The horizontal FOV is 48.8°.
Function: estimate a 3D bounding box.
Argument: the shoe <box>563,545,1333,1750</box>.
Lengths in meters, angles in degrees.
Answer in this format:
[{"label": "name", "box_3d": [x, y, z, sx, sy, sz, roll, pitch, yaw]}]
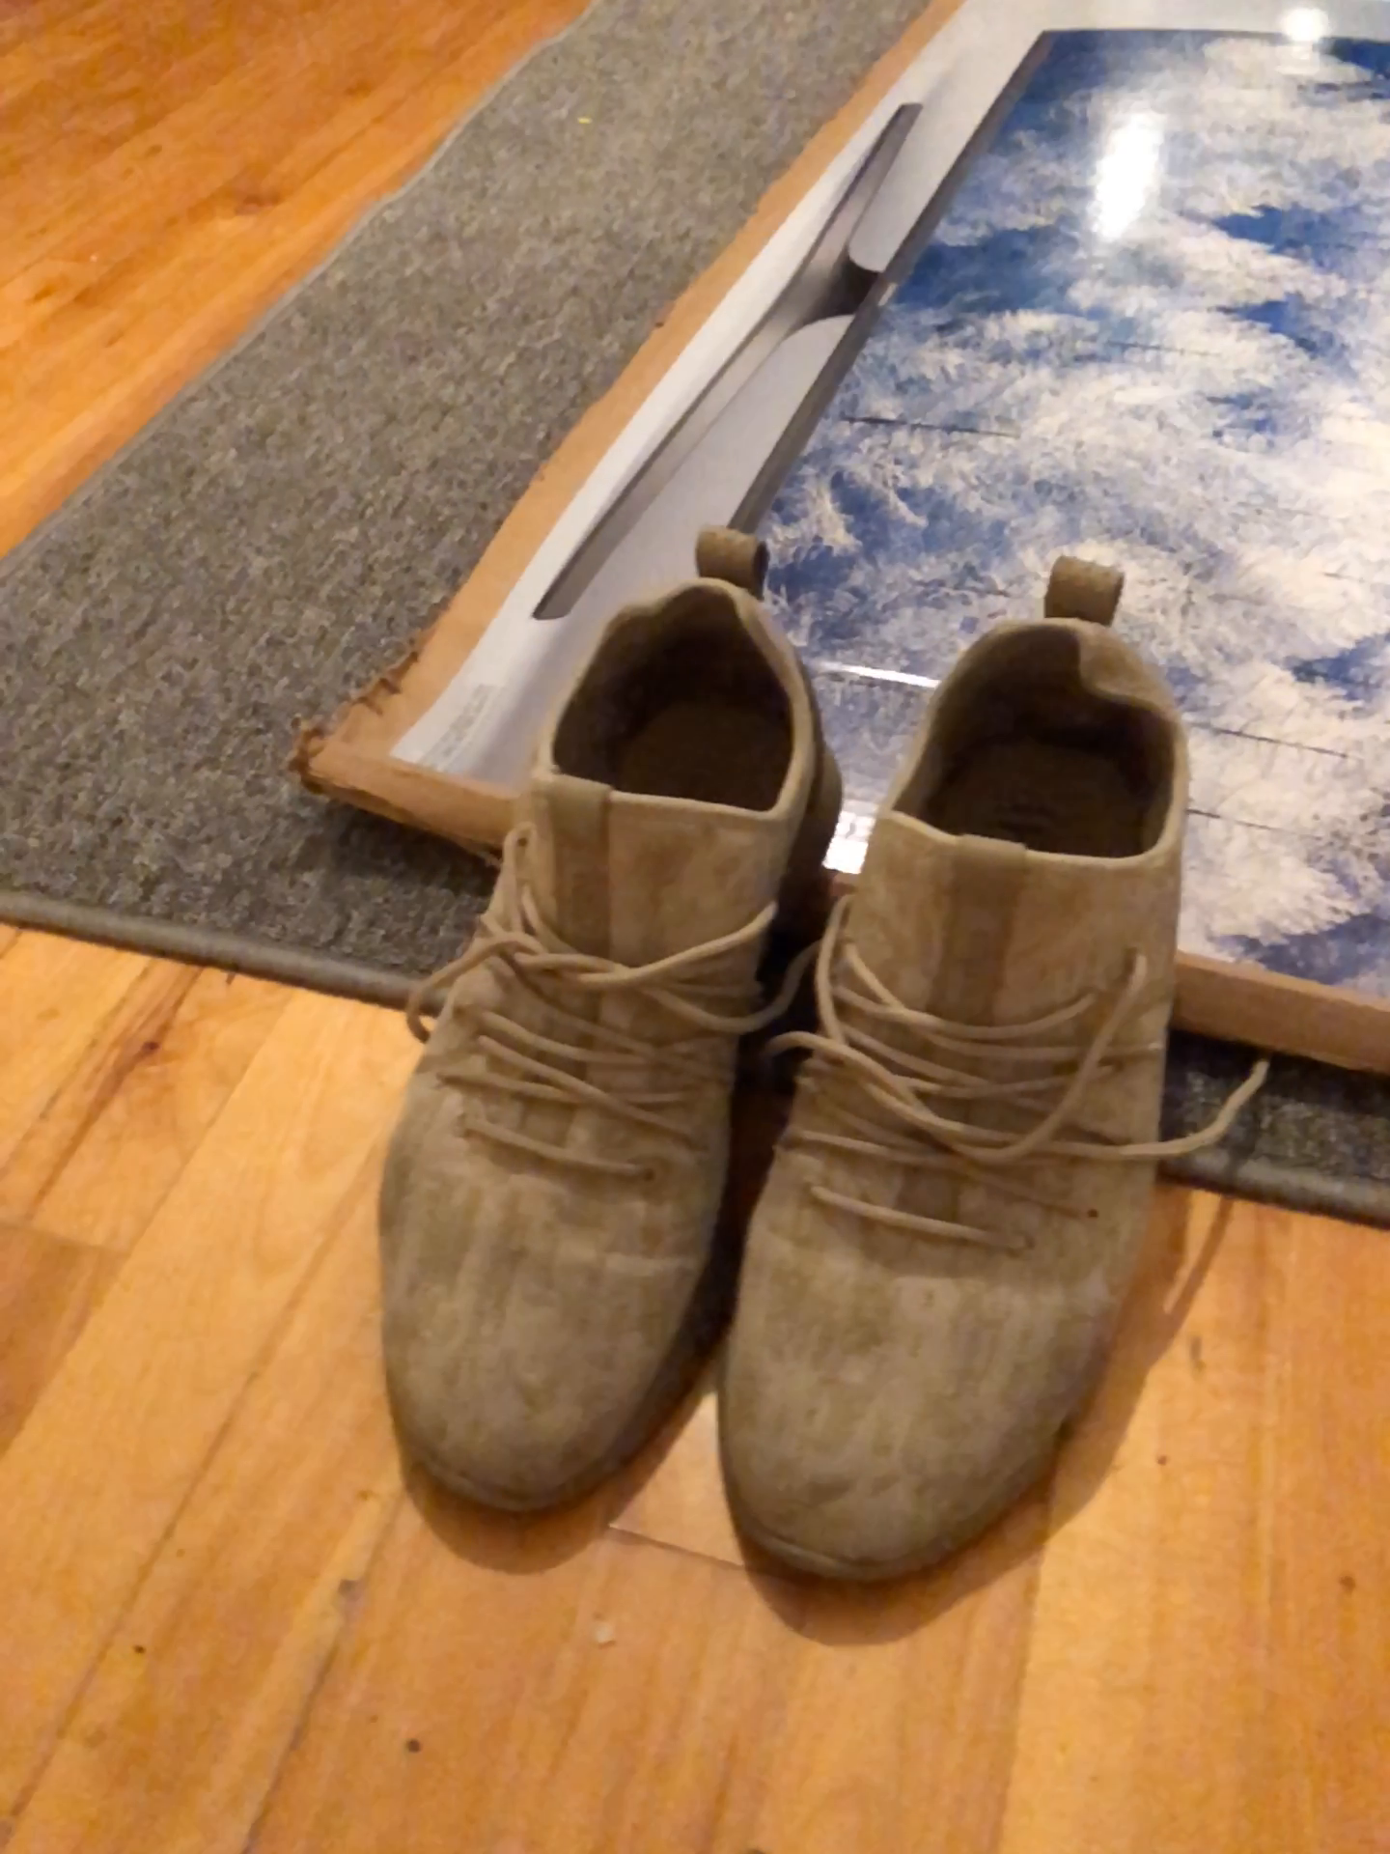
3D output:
[{"label": "shoe", "box_3d": [0.073, 0.049, 0.401, 0.110, 0.119, 0.251, 14, 77, 16]}]

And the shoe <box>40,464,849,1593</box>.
[{"label": "shoe", "box_3d": [-0.046, 0.025, 0.408, 0.110, 0.119, 0.251, 12, 73, 14]}]
